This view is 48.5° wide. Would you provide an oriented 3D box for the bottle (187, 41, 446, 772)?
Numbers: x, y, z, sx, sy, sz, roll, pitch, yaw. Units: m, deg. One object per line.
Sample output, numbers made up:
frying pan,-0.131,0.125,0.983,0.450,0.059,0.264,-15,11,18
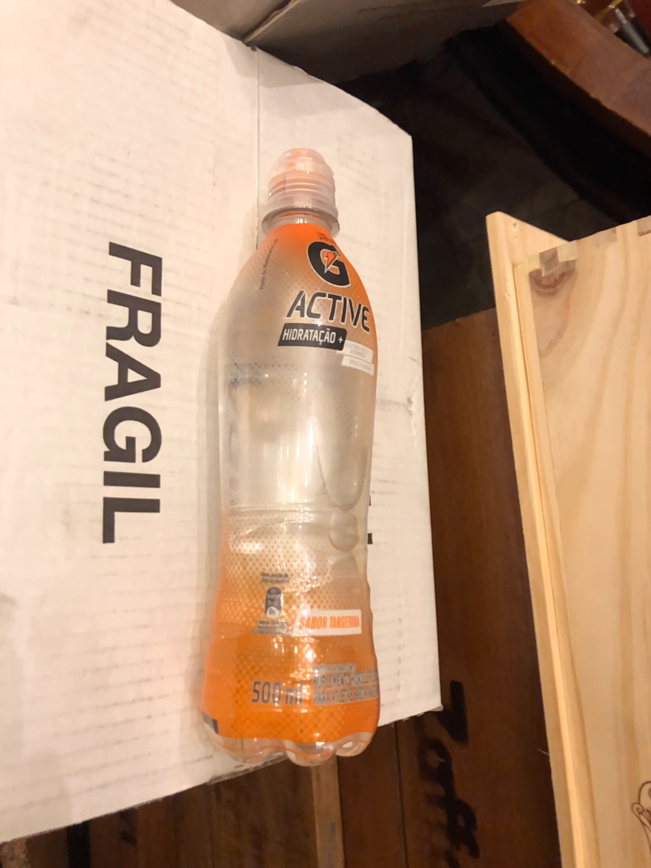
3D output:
bottle,0.000,-0.013,0.284,0.070,0.060,0.250,13,73,-42
